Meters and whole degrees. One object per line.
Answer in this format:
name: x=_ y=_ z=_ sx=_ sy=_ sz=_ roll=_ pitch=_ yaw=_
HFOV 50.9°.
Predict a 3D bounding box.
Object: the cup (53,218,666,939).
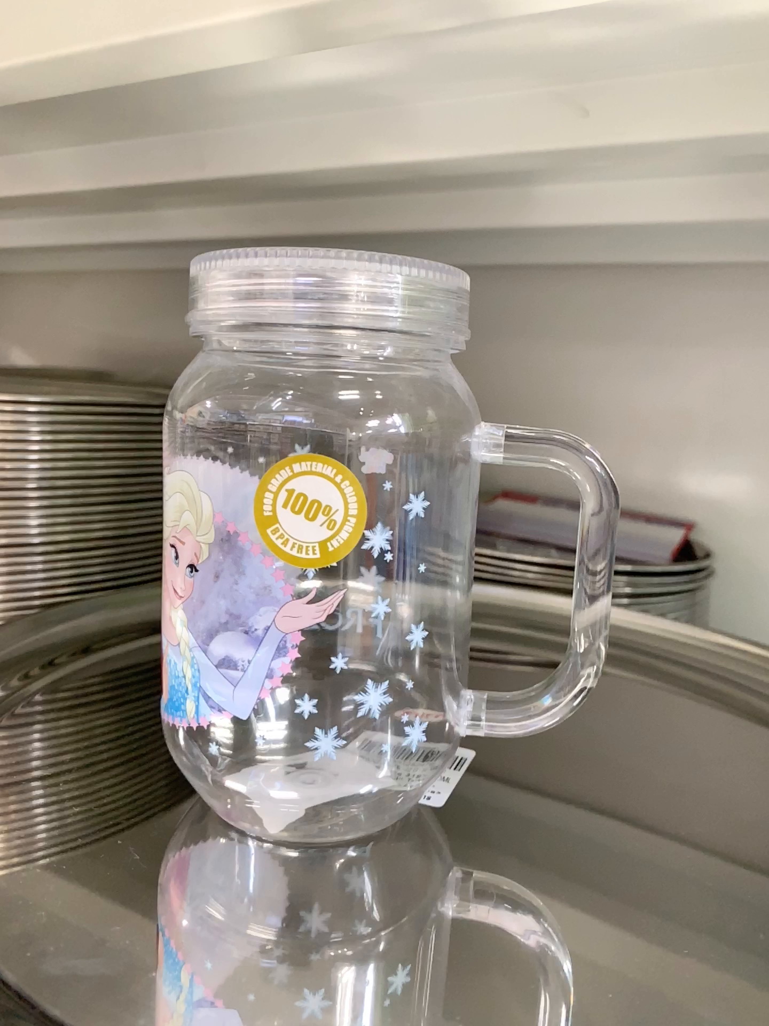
cup: x=-0.004 y=0.005 z=0.193 sx=0.120 sy=0.130 sz=0.070 roll=6 pitch=8 yaw=17
